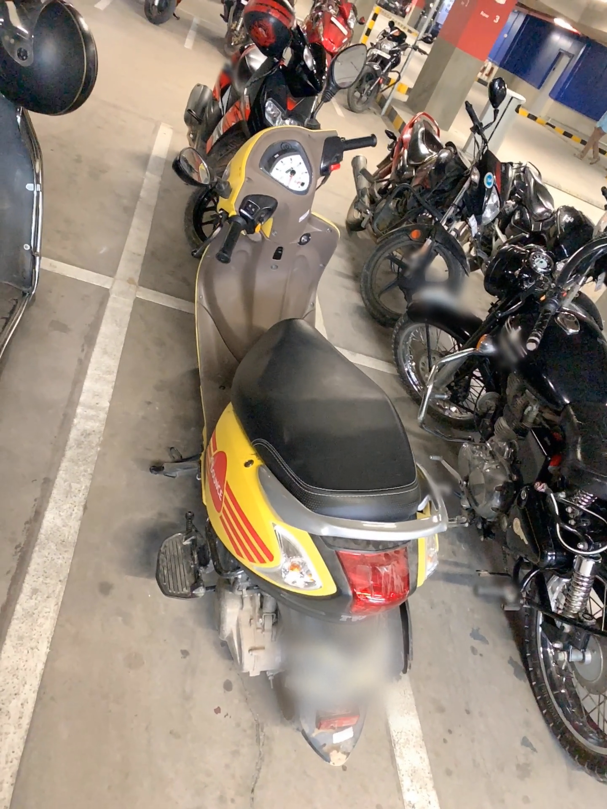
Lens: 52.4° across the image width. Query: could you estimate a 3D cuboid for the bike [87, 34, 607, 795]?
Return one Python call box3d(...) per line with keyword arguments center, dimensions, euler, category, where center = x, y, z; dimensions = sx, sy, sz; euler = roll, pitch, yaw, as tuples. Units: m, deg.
box3d(center=(-0.118, -0.161, 1.649), dimensions=(0.567, 1.048, 1.710), euler=(11, 36, -23), category="bike")
